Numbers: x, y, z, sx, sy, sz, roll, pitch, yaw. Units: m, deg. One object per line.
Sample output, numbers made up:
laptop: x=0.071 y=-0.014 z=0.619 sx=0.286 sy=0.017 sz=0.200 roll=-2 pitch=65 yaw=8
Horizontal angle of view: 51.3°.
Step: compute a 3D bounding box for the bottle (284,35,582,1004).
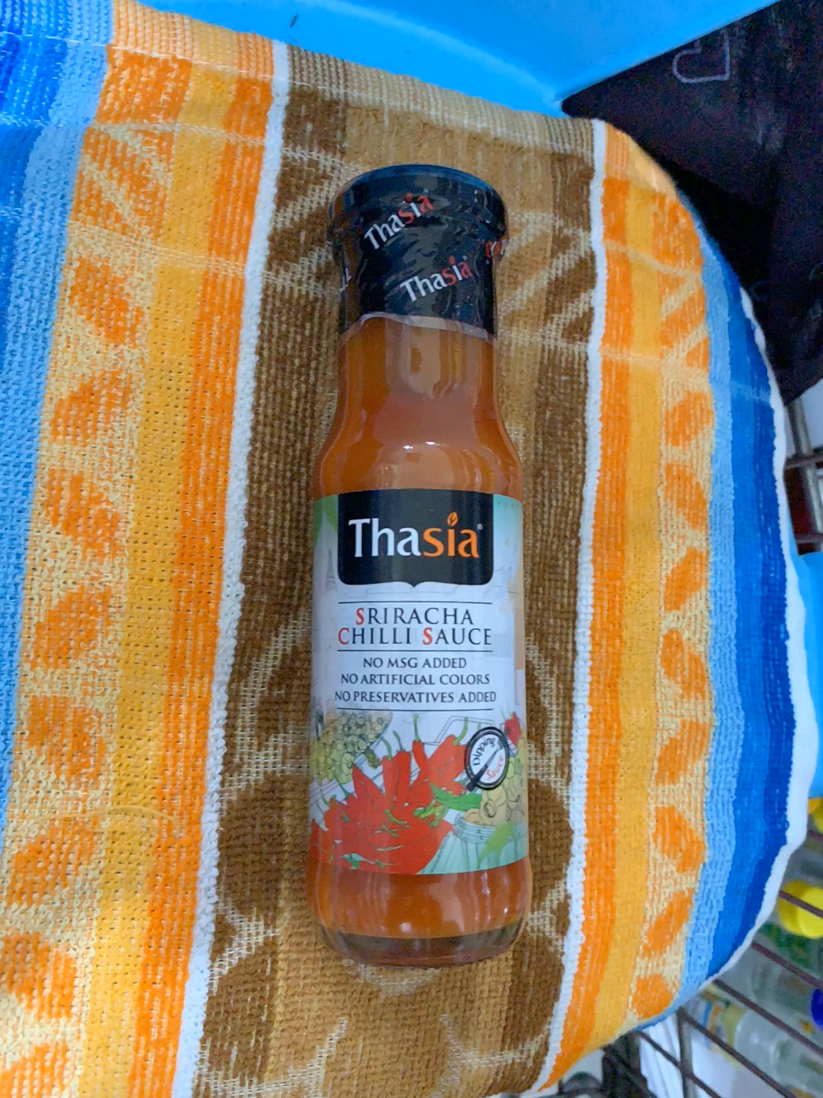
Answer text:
bottle: x=0.001 y=-0.009 z=0.183 sx=0.050 sy=0.050 sz=0.180 roll=0 pitch=80 yaw=-5
